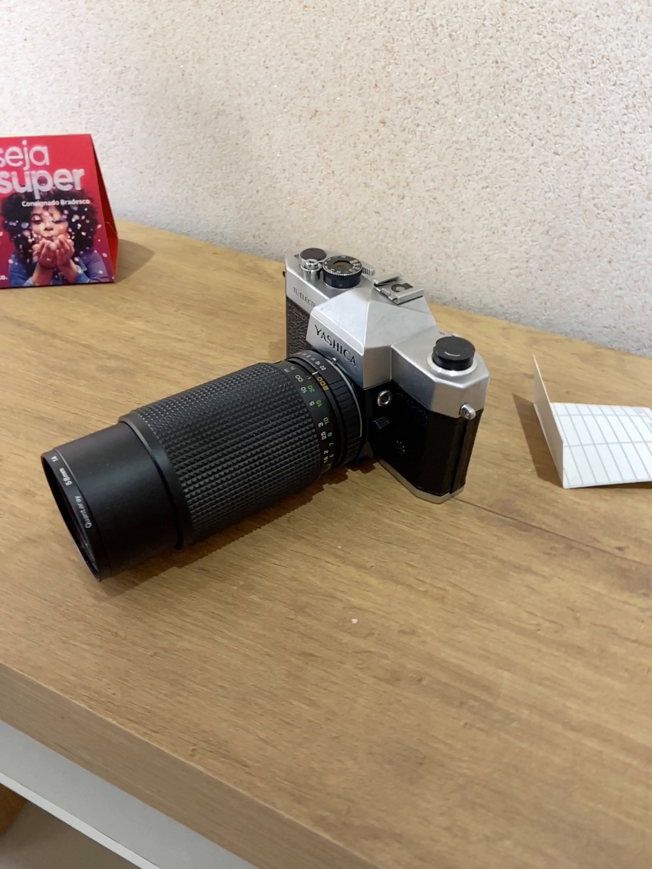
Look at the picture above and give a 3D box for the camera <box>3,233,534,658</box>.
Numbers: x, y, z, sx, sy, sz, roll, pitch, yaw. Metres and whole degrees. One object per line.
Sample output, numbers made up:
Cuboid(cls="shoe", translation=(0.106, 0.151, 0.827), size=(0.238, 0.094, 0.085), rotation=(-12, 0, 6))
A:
Cuboid(cls="camera", translation=(-0.031, -0.014, 0.339), size=(0.200, 0.080, 0.151), rotation=(-21, 45, -23))
